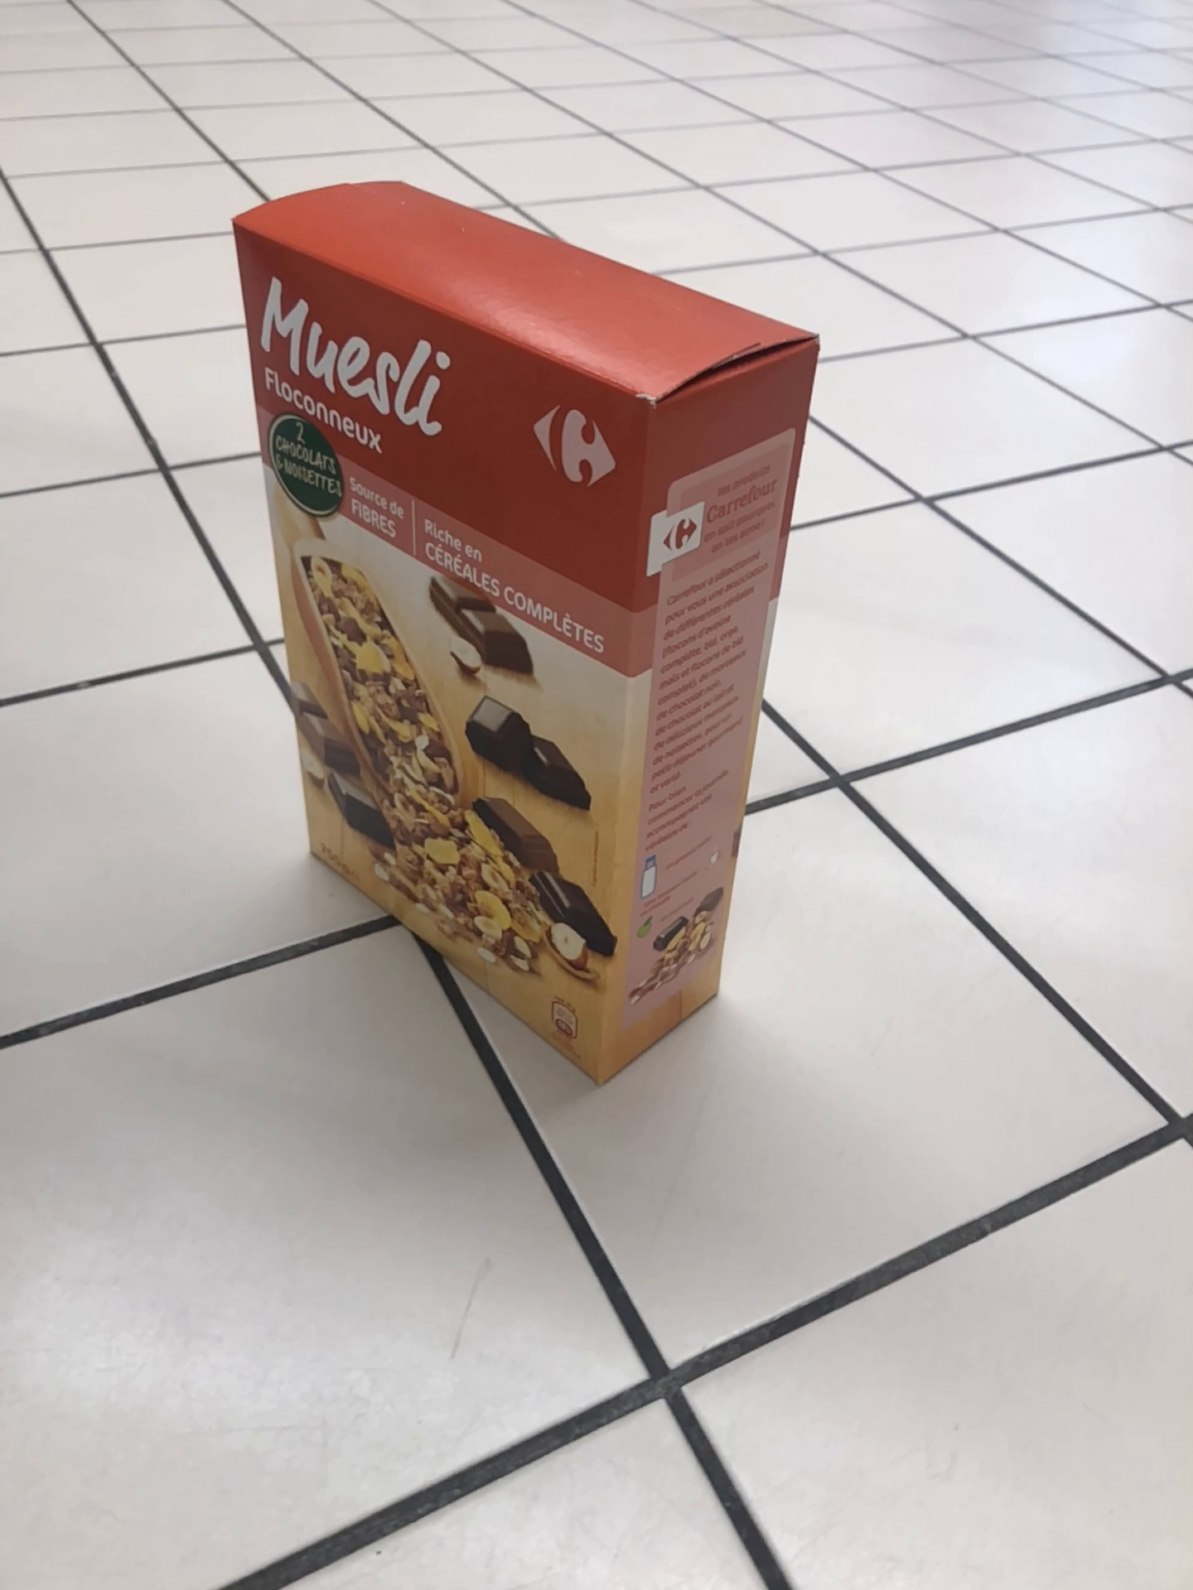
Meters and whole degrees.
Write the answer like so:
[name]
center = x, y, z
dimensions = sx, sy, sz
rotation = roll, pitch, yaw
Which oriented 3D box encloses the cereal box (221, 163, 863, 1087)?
[cereal box]
center = -0.027, -0.050, 0.424
dimensions = 0.170, 0.239, 0.070
rotation = 33, 48, 30
